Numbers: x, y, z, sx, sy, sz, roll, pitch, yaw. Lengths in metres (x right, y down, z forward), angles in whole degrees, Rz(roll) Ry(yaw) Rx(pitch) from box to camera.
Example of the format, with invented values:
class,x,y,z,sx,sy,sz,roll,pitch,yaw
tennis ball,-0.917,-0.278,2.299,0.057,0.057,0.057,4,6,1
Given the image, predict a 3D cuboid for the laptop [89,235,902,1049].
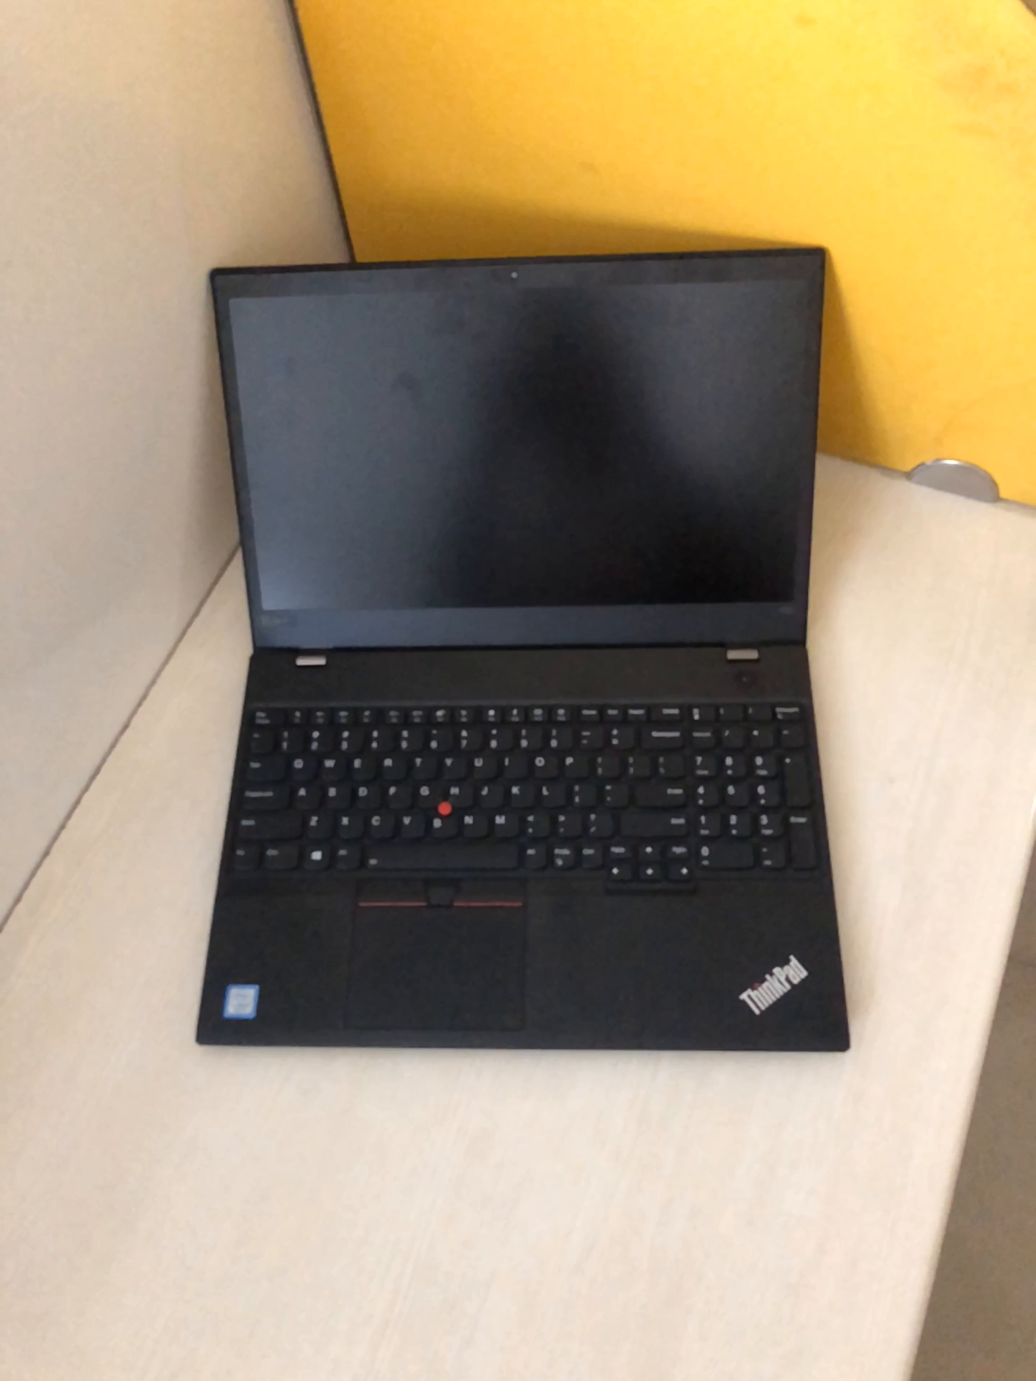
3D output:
class,x,y,z,sx,sy,sz,roll,pitch,yaw
laptop,-0.006,-0.034,0.640,0.344,0.151,0.421,-1,65,3
